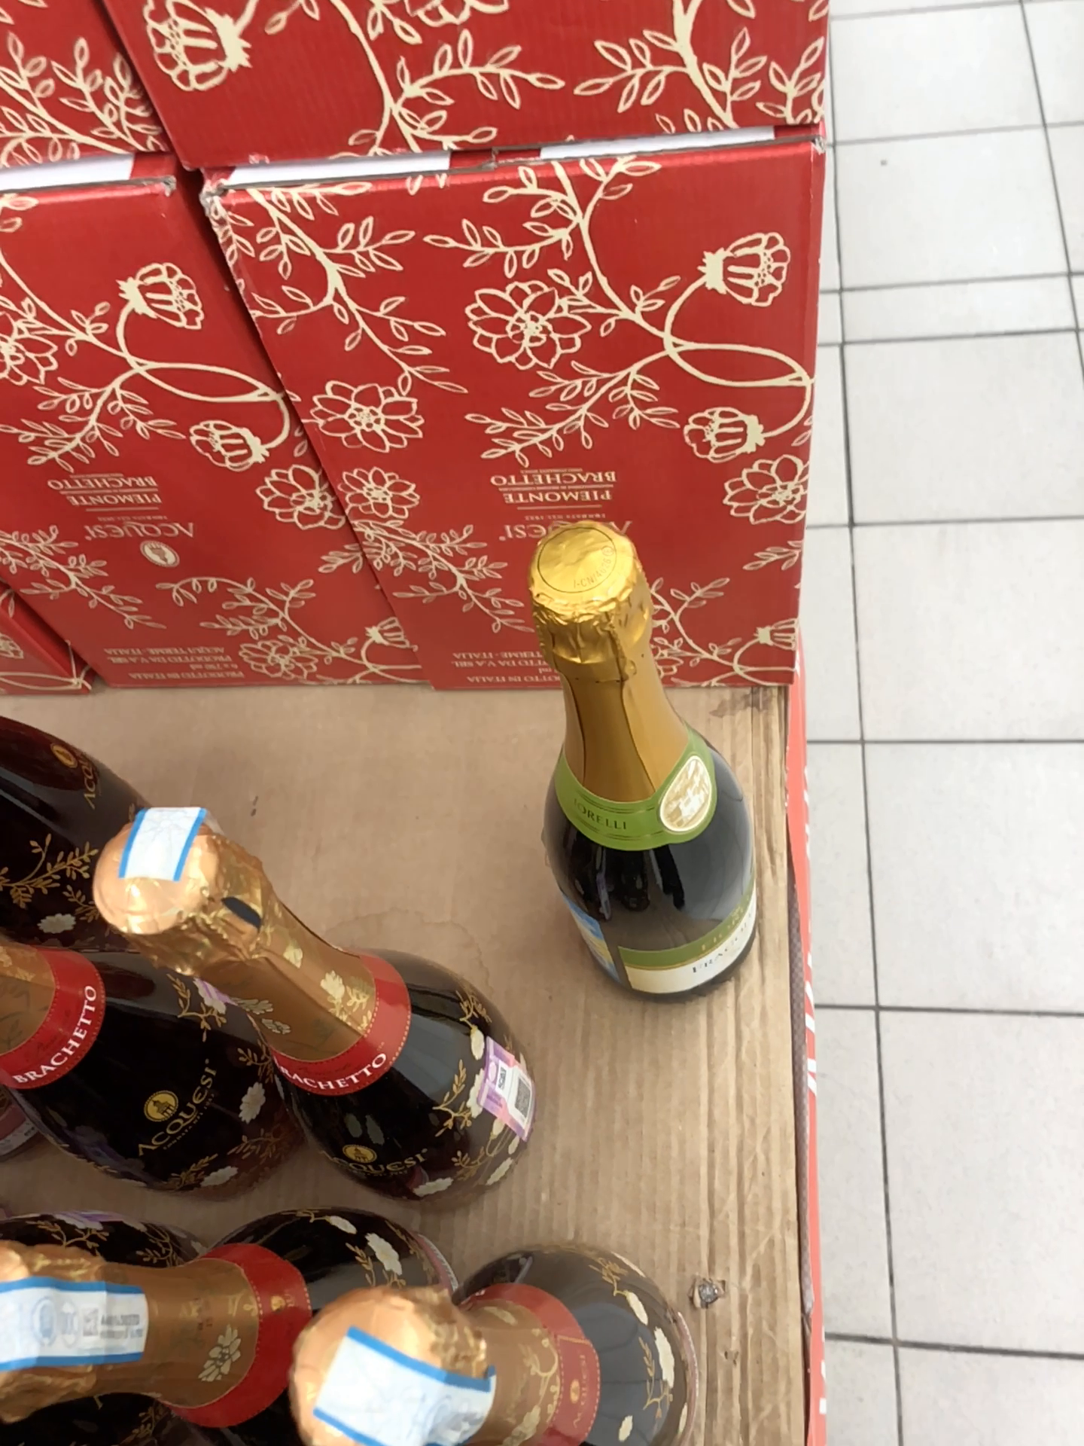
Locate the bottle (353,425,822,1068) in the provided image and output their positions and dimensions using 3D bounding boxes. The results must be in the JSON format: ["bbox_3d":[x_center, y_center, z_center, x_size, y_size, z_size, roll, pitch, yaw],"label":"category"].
[{"bbox_3d":[0.035,0.034,0.444,0.090,0.289,0.090,-4,62,8],"label":"bottle"}]
